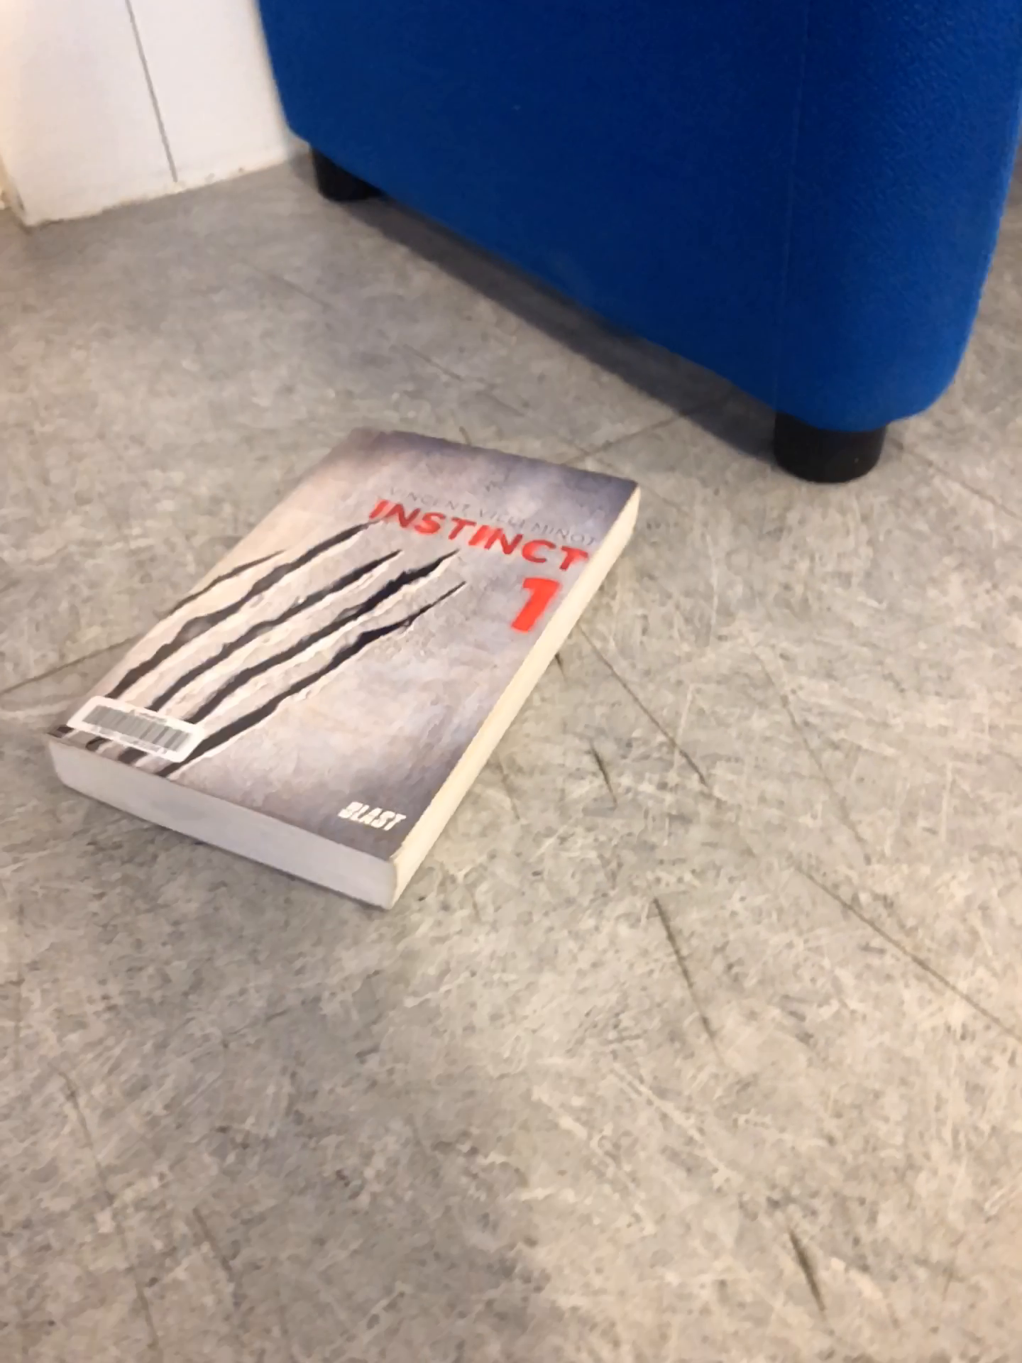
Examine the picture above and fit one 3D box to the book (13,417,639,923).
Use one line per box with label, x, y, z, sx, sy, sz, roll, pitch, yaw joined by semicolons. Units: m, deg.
book;-0.056;-0.023;0.427;0.142;0.028;0.211;16;48;20
